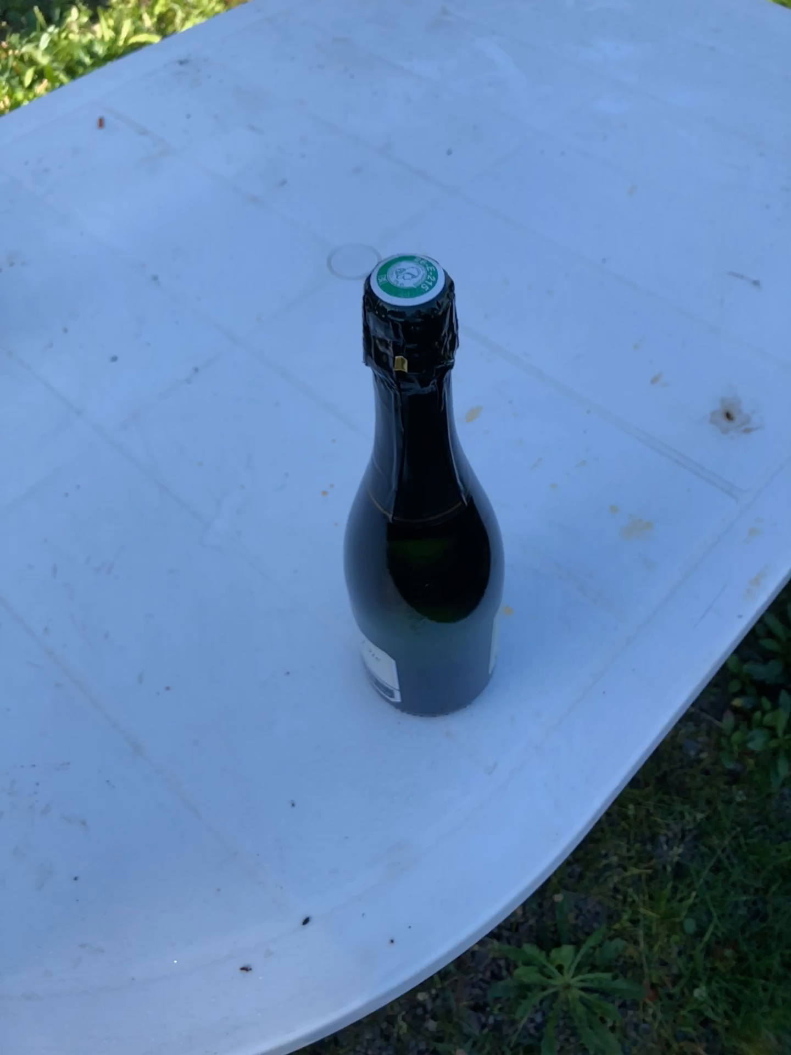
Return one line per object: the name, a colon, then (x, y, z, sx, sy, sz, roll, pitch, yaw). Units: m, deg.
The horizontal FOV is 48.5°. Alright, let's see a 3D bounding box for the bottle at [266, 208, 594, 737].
bottle: (0.013, 0.006, 0.422, 0.100, 0.308, 0.090, 0, 58, 1)
